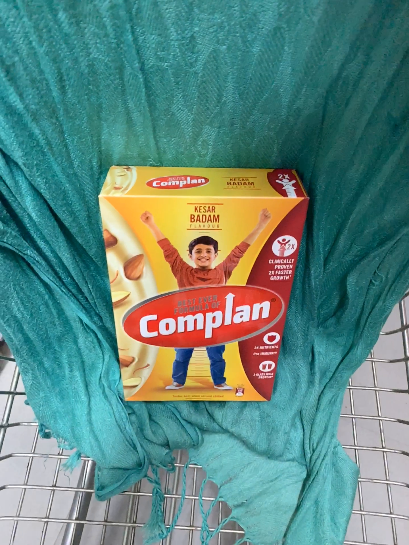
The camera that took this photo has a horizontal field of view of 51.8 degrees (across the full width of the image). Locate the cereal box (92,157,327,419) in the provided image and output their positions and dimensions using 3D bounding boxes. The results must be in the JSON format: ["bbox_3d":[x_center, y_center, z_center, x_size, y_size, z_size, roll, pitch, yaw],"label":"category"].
[{"bbox_3d":[0.003,0.019,0.326,0.140,0.200,0.060,0,29,0],"label":"cereal box"}]
